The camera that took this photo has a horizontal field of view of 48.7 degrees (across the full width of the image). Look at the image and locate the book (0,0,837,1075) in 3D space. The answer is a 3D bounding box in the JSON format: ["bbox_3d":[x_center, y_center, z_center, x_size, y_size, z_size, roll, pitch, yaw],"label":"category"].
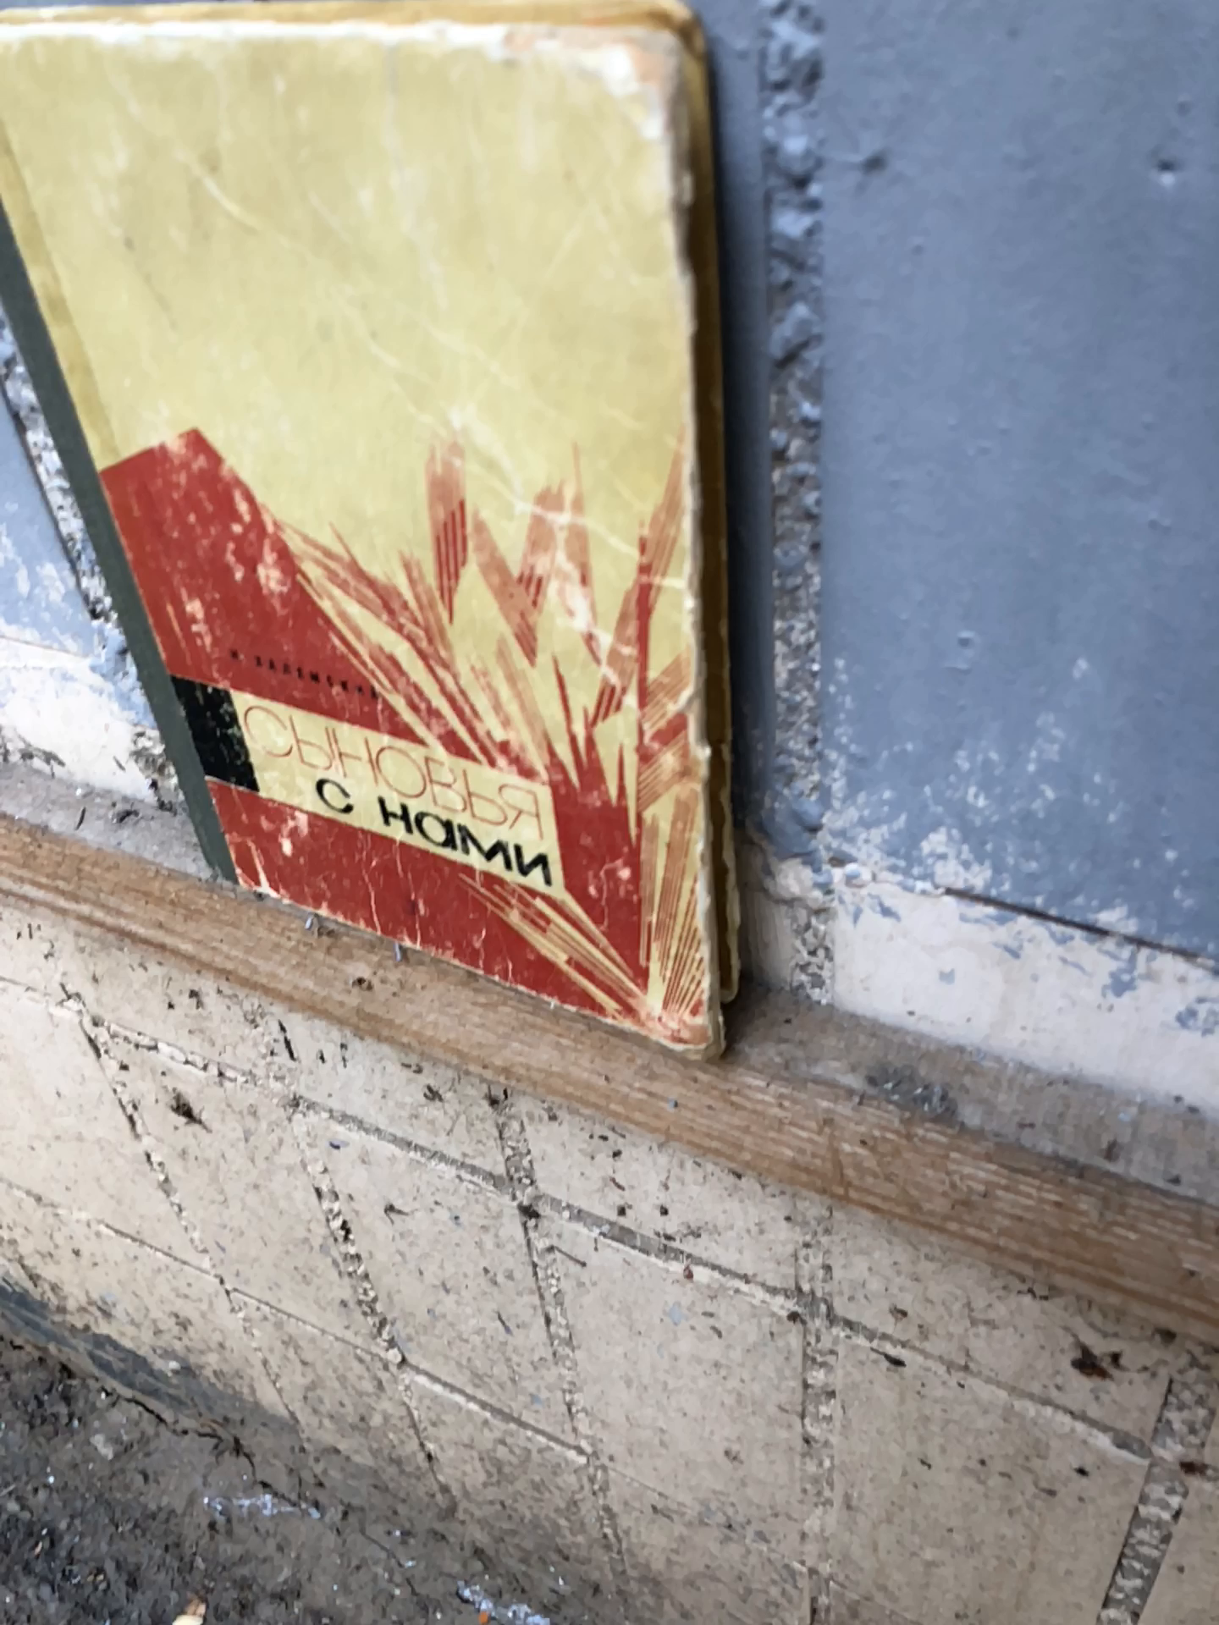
[{"bbox_3d":[-0.035,-0.046,0.231,0.140,0.162,0.032,16,40,26],"label":"book"}]
